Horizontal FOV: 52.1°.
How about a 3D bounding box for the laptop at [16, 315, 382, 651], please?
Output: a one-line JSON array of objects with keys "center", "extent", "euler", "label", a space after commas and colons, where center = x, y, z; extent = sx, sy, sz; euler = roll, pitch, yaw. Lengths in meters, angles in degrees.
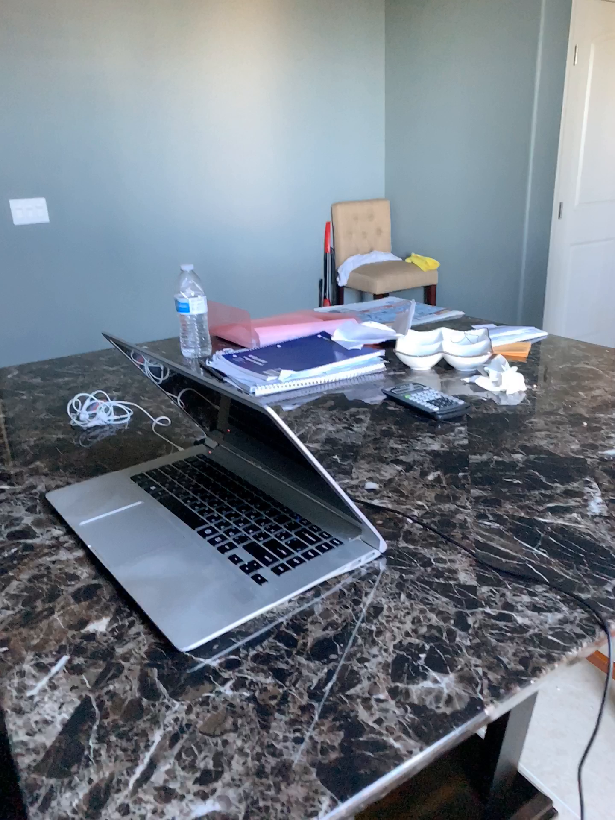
[{"center": [-0.129, 0.034, 0.688], "extent": [0.234, 0.188, 0.362], "euler": [-17, 25, -35], "label": "laptop"}]
